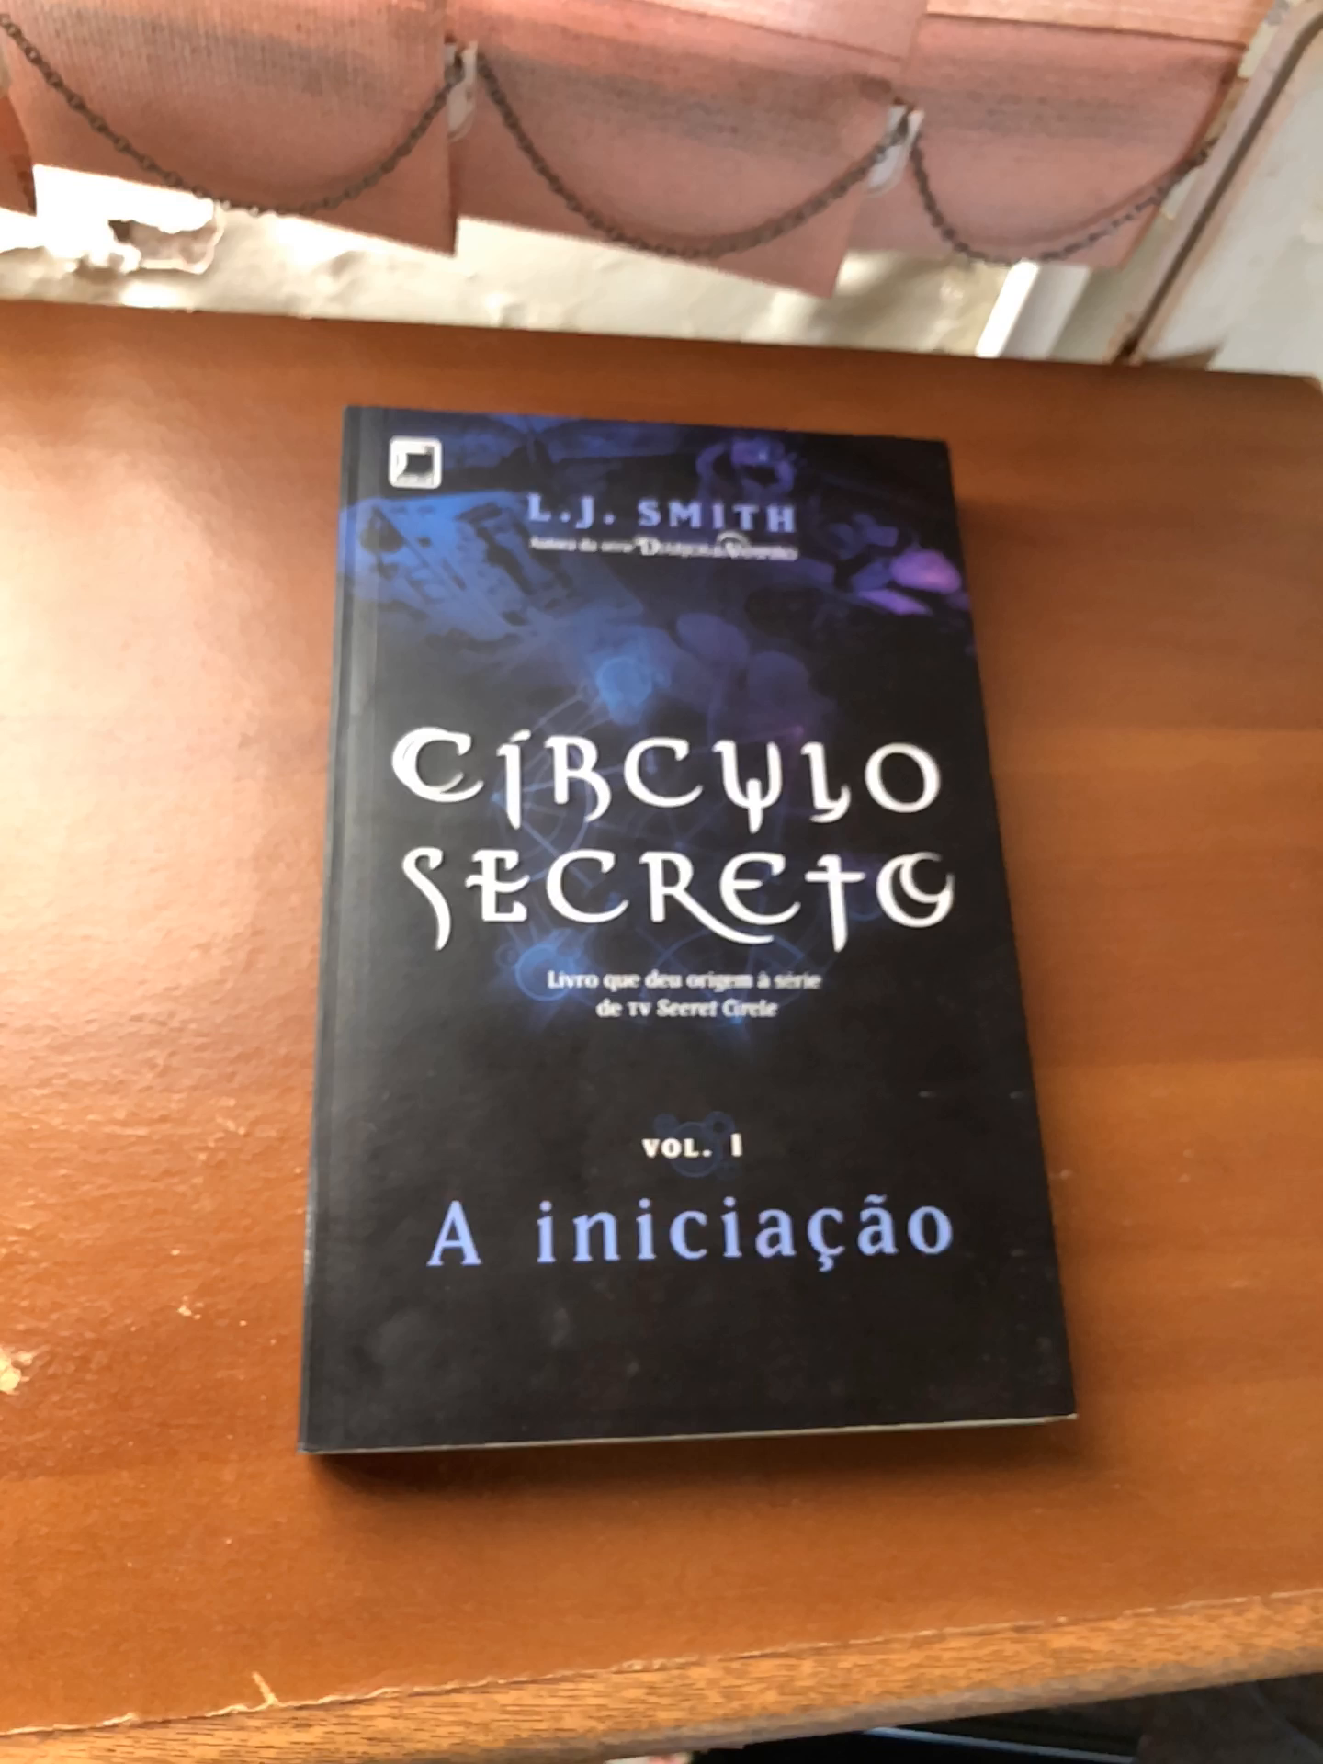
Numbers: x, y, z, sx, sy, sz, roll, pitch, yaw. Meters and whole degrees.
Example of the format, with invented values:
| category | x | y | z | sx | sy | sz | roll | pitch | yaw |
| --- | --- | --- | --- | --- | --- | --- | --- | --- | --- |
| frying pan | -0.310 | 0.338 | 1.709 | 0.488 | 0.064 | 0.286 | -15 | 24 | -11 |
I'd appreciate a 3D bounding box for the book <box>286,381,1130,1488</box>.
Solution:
| category | x | y | z | sx | sy | sz | roll | pitch | yaw |
| --- | --- | --- | --- | --- | --- | --- | --- | --- | --- |
| book | 0.003 | 0.000 | 0.292 | 0.140 | 0.024 | 0.214 | 1 | 67 | -10 |
